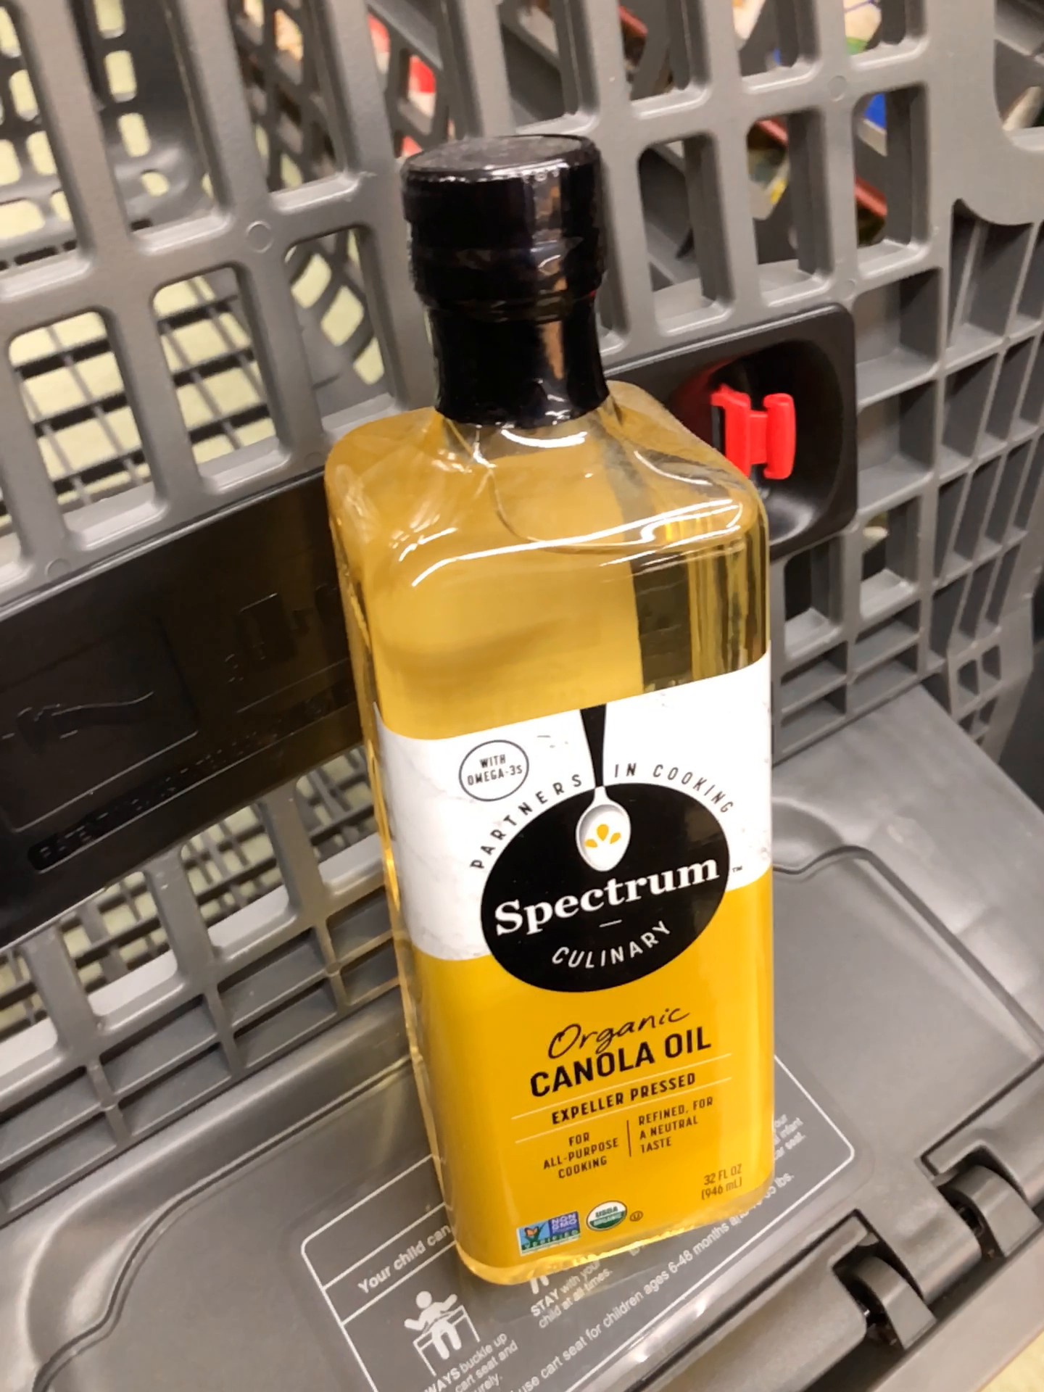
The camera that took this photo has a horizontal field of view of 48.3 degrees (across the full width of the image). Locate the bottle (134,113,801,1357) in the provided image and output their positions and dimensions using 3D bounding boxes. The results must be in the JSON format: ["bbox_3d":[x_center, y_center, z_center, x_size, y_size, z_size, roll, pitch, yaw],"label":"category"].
[{"bbox_3d":[-0.003,0.020,0.256,0.090,0.250,0.090,-5,33,3],"label":"bottle"}]
